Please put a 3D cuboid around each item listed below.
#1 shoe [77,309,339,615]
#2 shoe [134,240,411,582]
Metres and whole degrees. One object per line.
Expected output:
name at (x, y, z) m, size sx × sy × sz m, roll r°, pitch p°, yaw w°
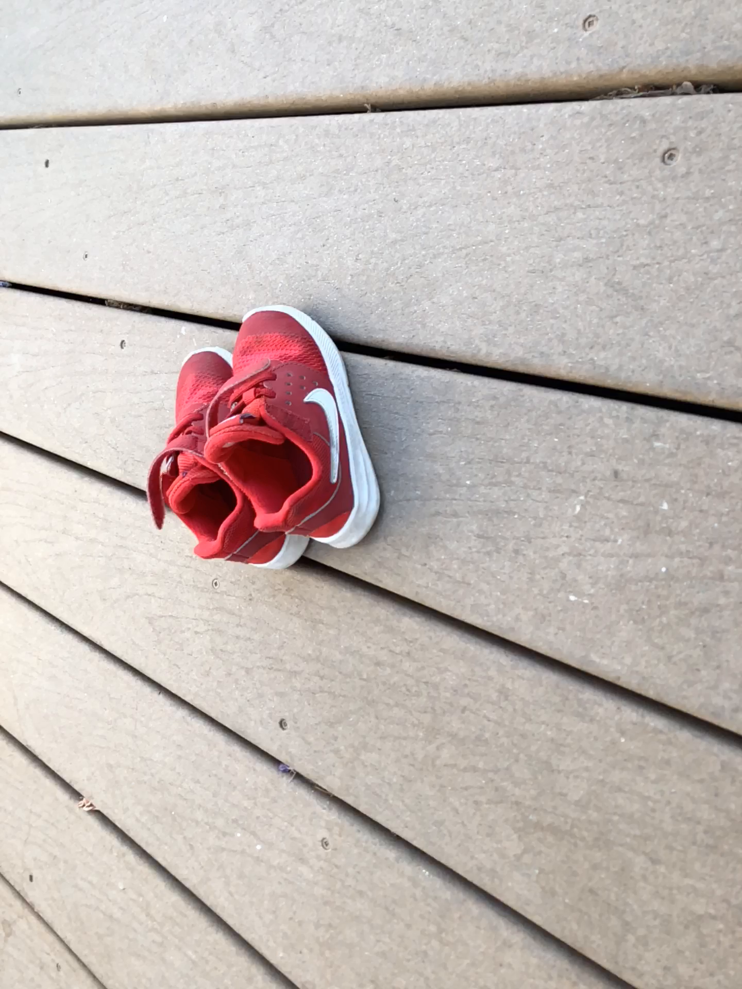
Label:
shoe at (-0.106, -0.021, 0.520) m, size 0.078 × 0.087 × 0.167 m, roll -36°, pitch 69°, yaw 33°
shoe at (-0.059, -0.045, 0.473) m, size 0.078 × 0.087 × 0.167 m, roll -29°, pitch 73°, yaw 35°
